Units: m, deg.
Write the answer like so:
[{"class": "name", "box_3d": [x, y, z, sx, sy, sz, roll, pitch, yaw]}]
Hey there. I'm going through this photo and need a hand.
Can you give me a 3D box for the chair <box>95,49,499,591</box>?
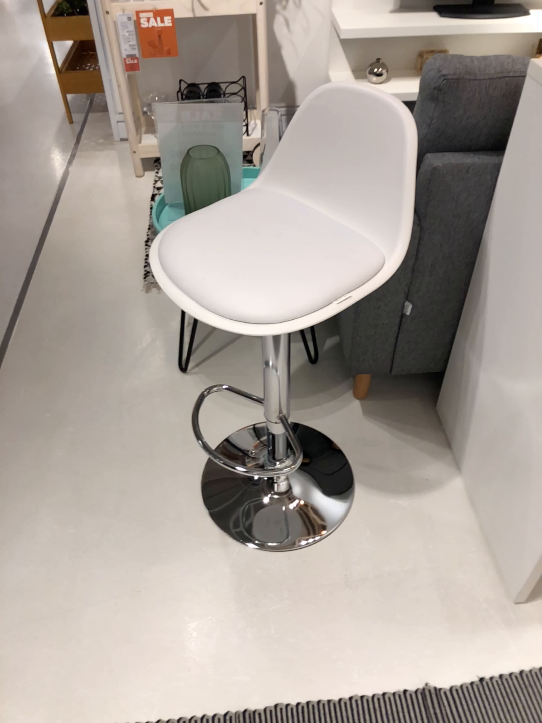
[{"class": "chair", "box_3d": [0.033, -0.041, 1.162, 0.421, 0.883, 0.412, -27, 49, -25]}]
